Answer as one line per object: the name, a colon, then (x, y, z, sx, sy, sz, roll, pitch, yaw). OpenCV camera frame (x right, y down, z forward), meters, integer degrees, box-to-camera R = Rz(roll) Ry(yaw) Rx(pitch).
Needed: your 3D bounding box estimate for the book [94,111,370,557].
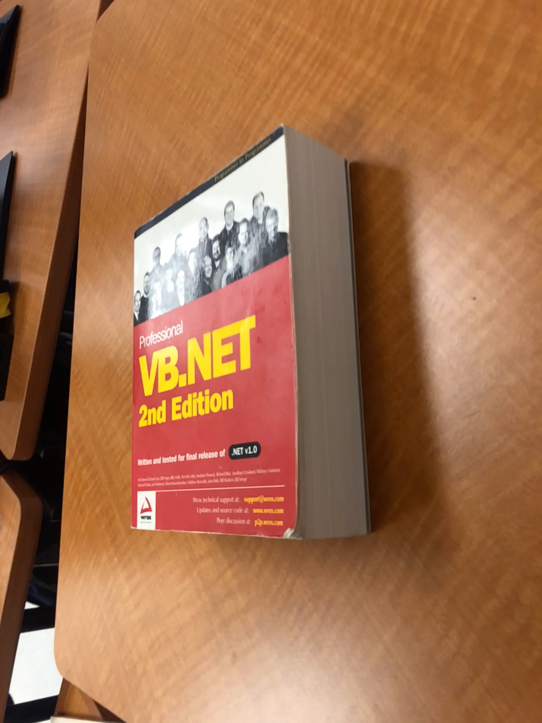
book: (-0.038, -0.002, 0.390, 0.201, 0.060, 0.230, -15, 71, 48)
